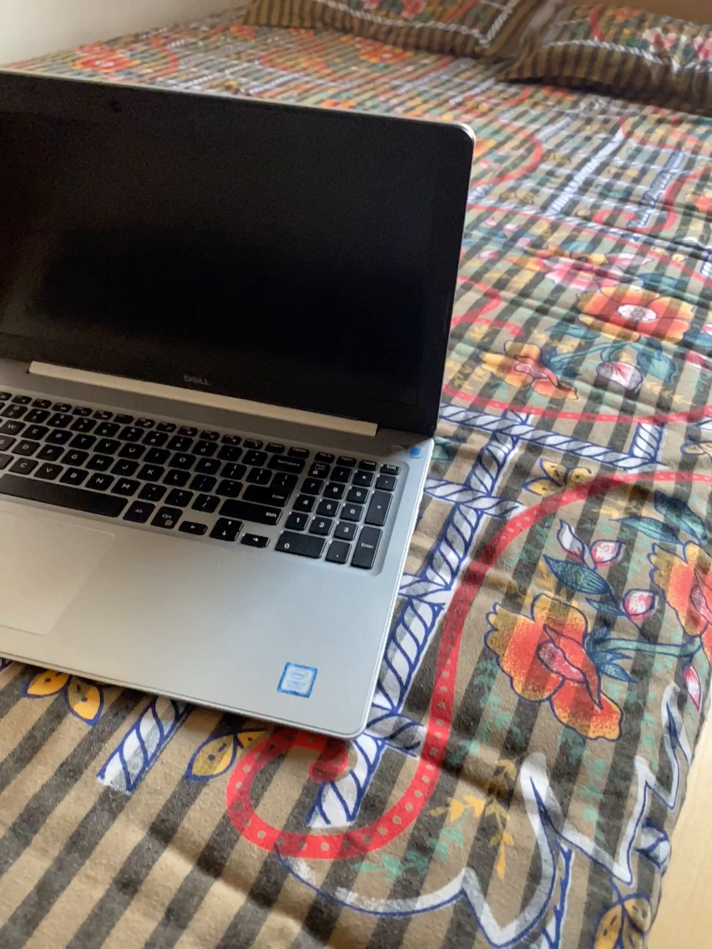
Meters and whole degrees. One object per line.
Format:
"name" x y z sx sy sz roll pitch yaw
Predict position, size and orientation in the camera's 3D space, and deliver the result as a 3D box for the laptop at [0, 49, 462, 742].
"laptop" -0.155 -0.057 0.397 0.373 0.231 0.210 11 43 9
